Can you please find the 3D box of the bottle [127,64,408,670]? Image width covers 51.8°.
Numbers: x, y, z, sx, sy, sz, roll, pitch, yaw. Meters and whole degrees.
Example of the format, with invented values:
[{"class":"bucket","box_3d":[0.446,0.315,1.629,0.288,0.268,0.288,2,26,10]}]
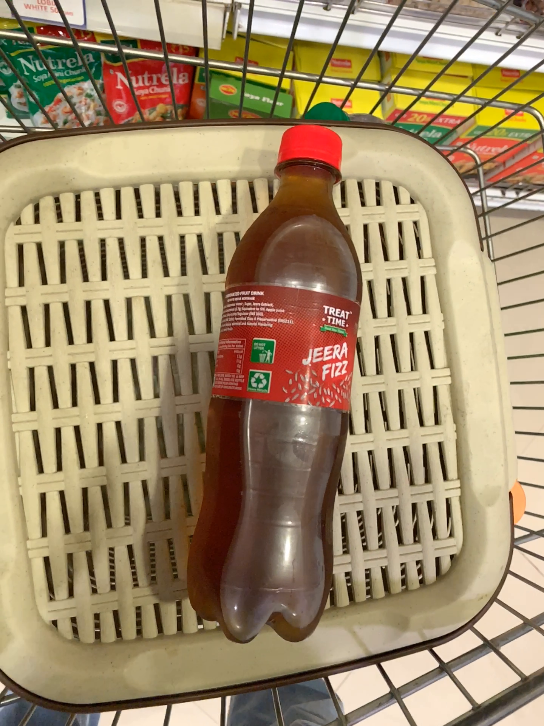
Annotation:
[{"class":"bottle","box_3d":[-0.001,0.002,0.262,0.080,0.070,0.230,10,84,-35]}]
